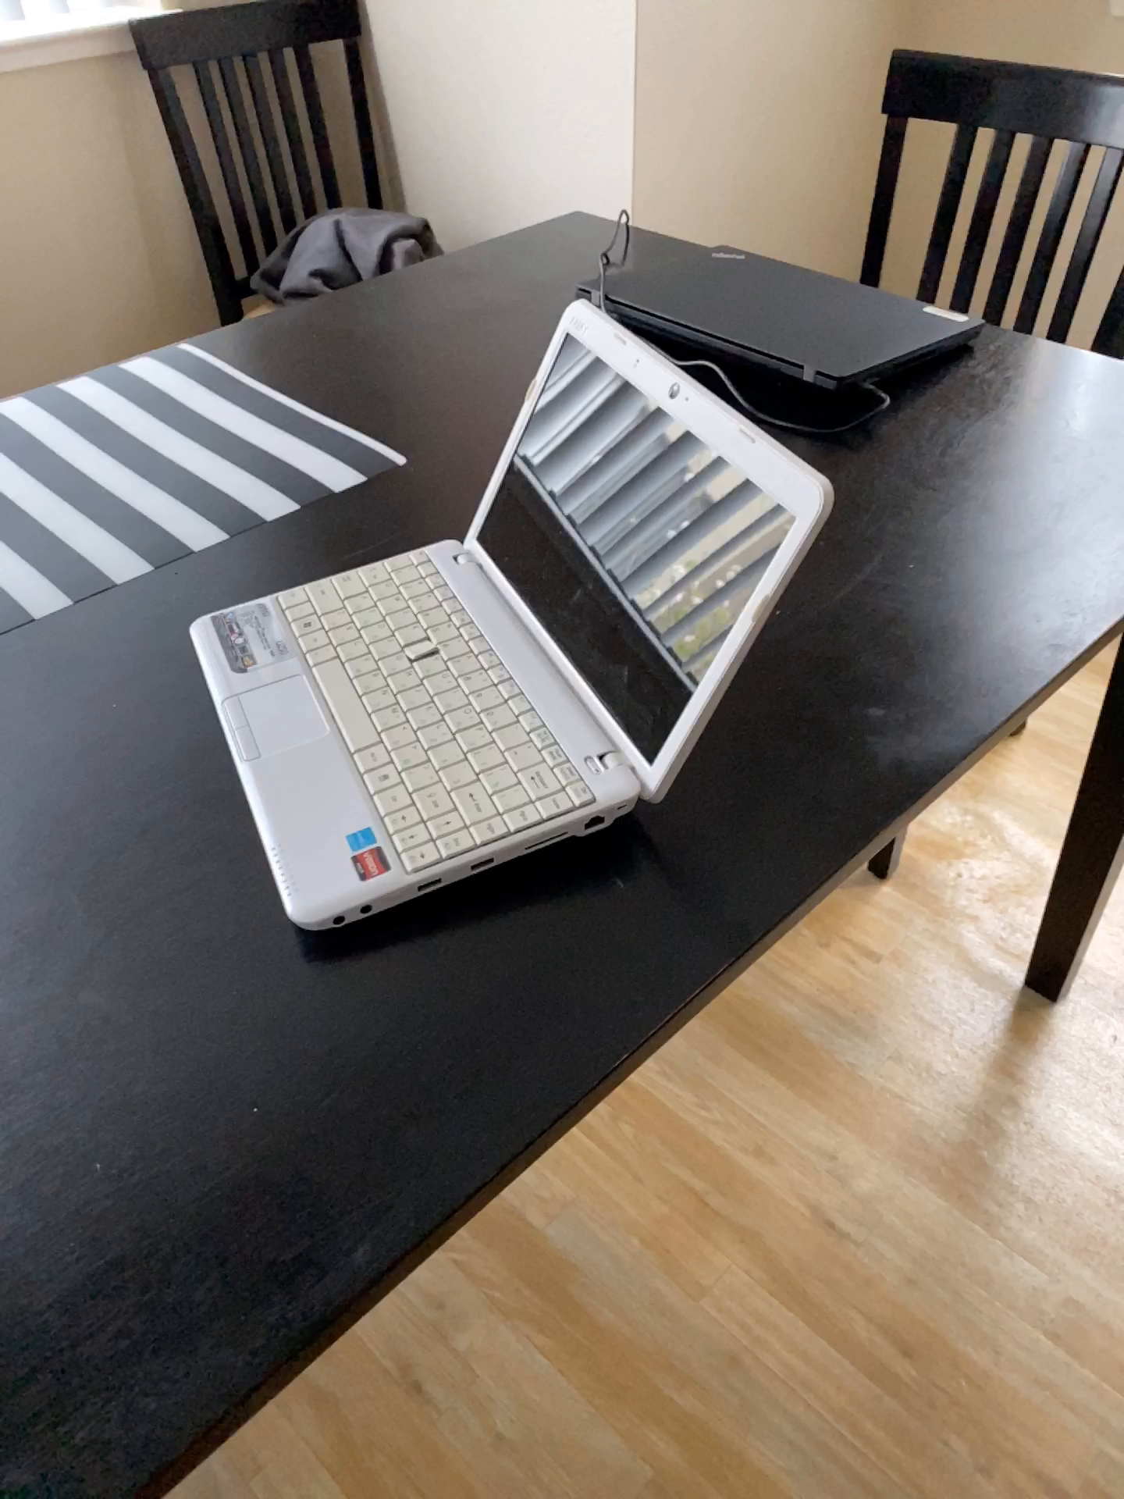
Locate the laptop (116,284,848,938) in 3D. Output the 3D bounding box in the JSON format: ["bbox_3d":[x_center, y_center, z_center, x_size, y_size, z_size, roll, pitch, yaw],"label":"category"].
[{"bbox_3d":[-0.061,-0.105,0.649,0.301,0.153,0.296,-20,44,-15],"label":"laptop"}]
